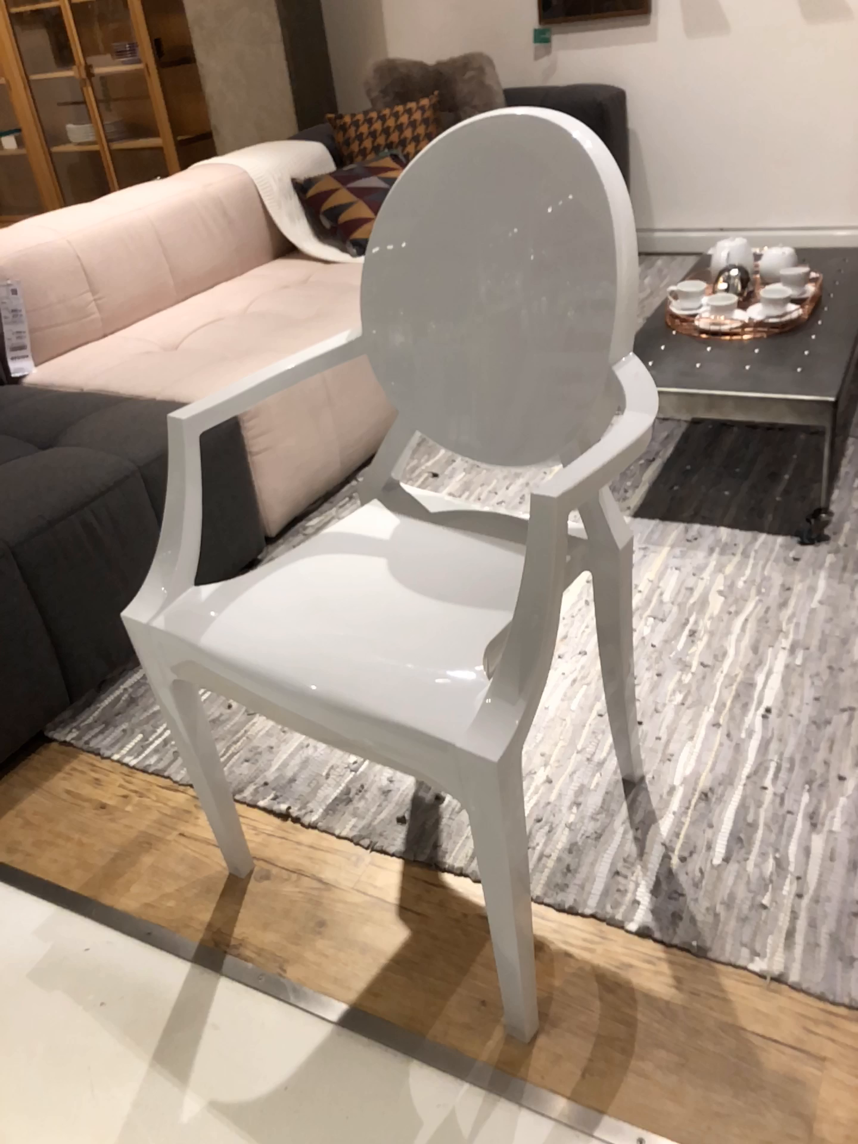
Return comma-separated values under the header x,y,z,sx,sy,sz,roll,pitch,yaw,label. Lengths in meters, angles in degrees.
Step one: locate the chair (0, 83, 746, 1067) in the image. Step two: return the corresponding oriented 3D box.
x,y,z,sx,sy,sz,roll,pitch,yaw,label
-0.005,-0.037,1.086,0.511,0.843,0.553,14,37,33,chair
